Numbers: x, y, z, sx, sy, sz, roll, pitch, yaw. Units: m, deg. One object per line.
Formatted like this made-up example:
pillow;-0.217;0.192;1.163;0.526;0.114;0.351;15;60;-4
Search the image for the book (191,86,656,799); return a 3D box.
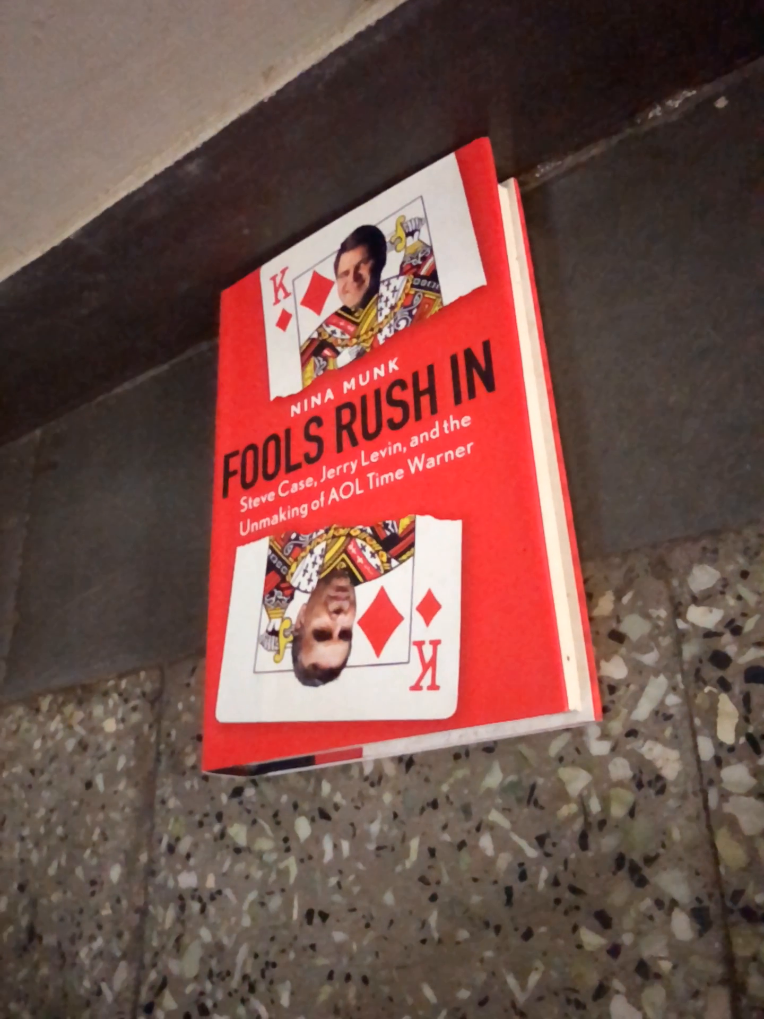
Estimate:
book;-0.002;-0.029;0.365;0.181;0.030;0.270;-20;59;31
